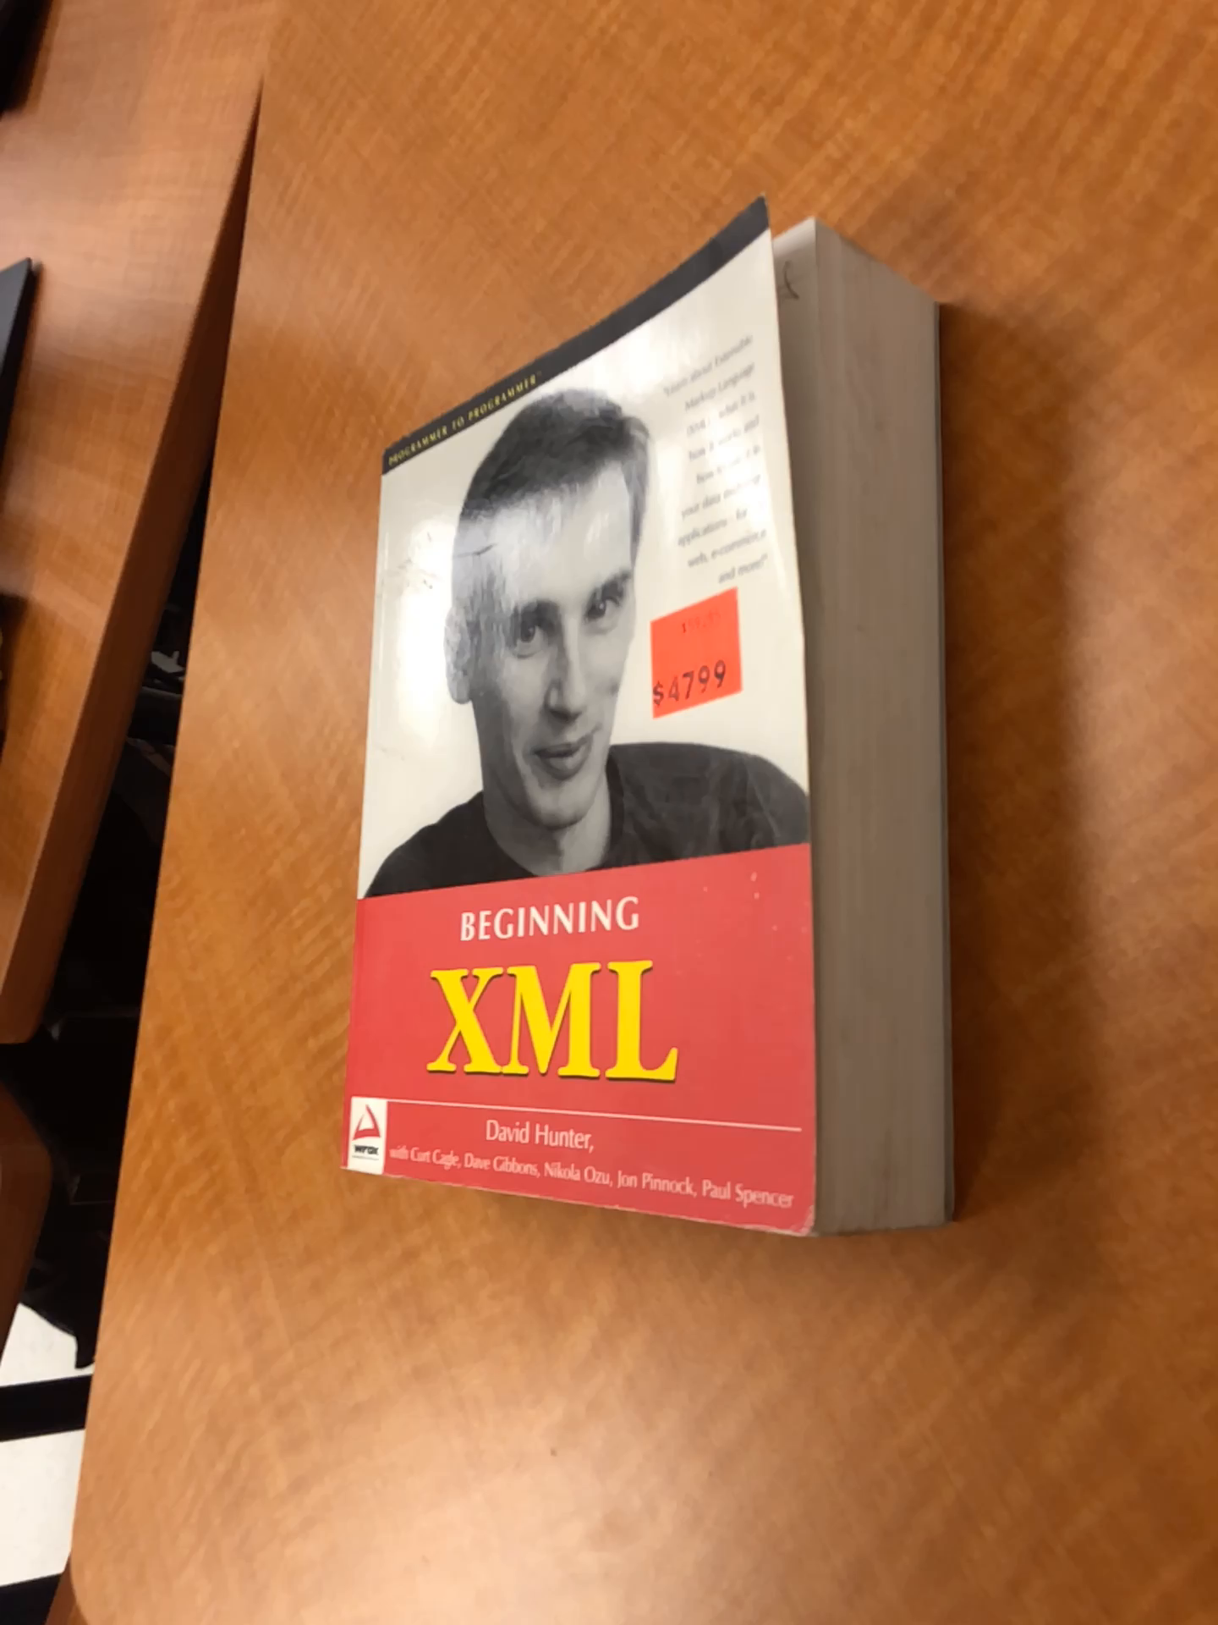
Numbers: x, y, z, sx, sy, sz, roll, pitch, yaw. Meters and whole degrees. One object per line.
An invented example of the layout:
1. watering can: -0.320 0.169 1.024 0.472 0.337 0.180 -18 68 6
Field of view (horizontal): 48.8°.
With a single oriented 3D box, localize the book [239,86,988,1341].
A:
1. book: -0.010 -0.015 0.385 0.221 0.070 0.270 -9 75 47
